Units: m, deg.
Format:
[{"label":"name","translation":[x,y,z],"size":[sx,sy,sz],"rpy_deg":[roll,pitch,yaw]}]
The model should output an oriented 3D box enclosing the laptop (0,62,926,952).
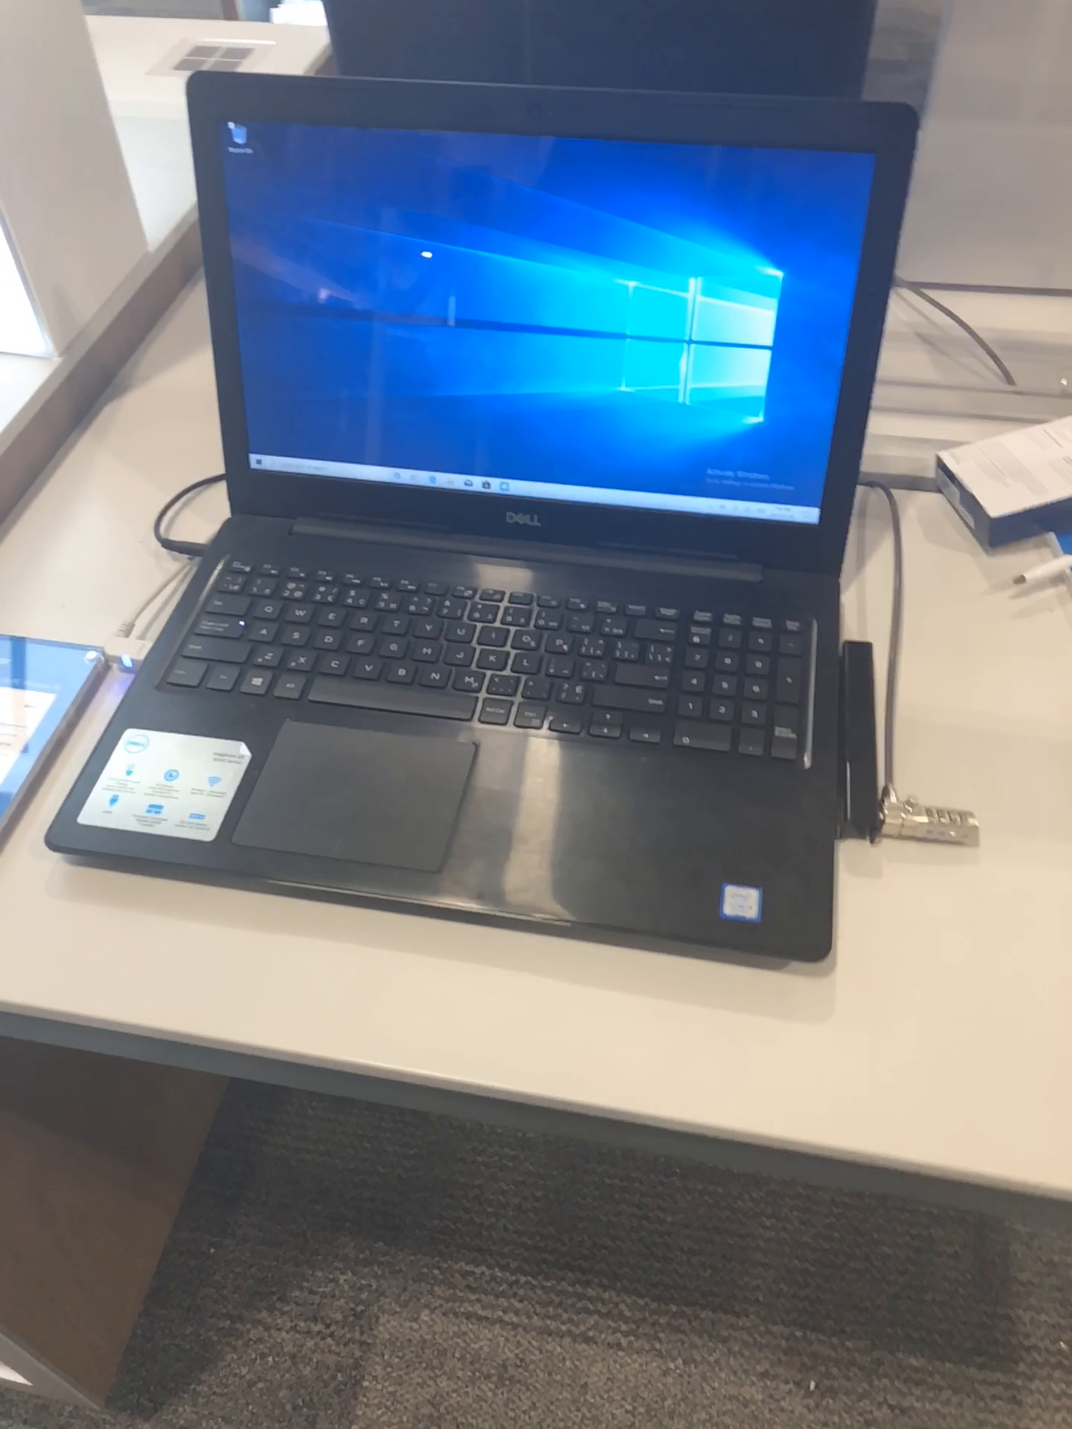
[{"label":"laptop","translation":[-0.027,-0.120,0.570],"size":[0.364,0.224,0.337],"rpy_deg":[7,51,9]}]
